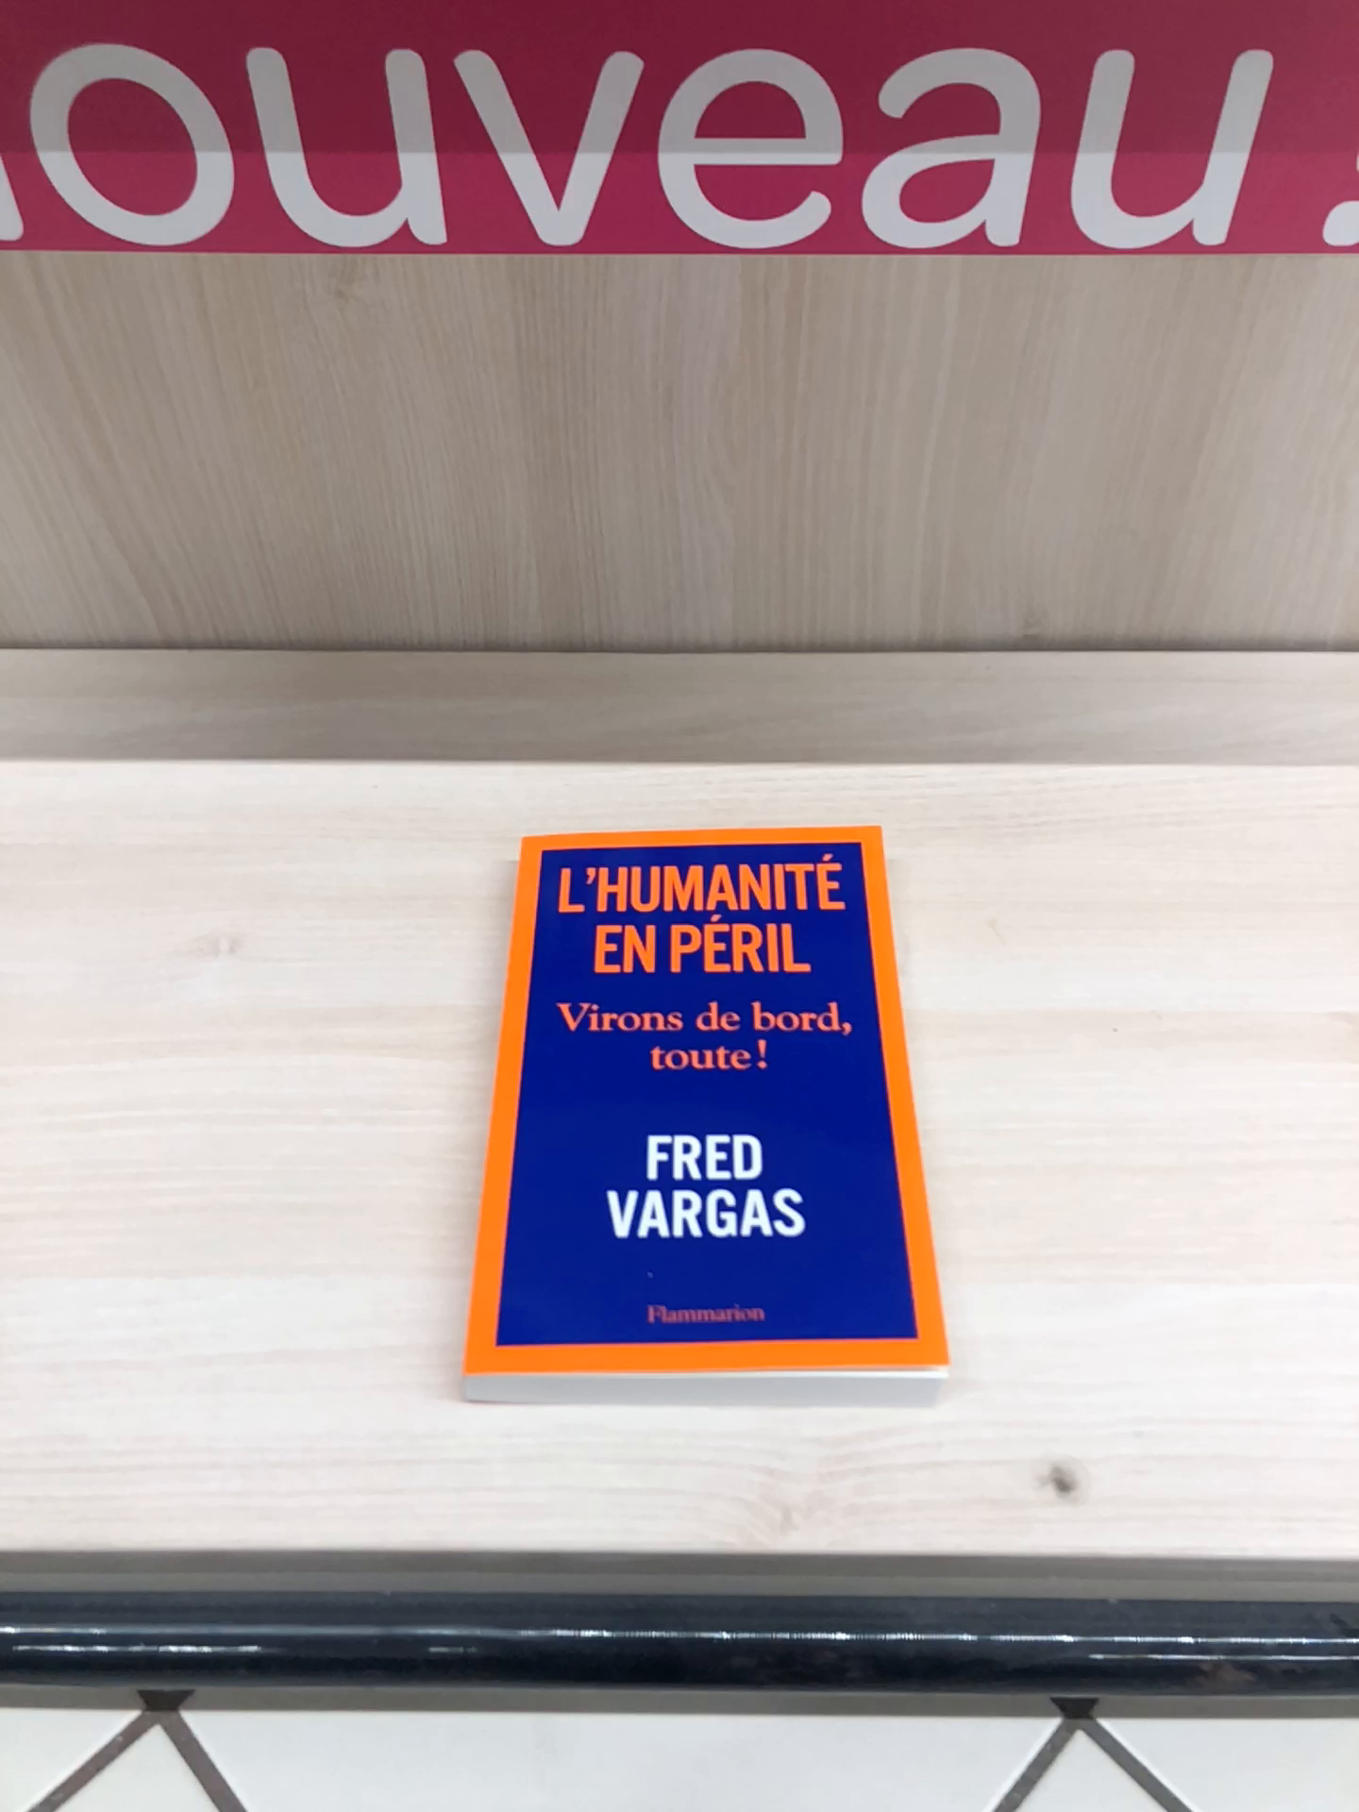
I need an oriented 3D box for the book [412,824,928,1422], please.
[{"bbox_3d":[-0.002,0.058,0.477,0.137,0.030,0.208,0,48,0],"label":"book"}]
